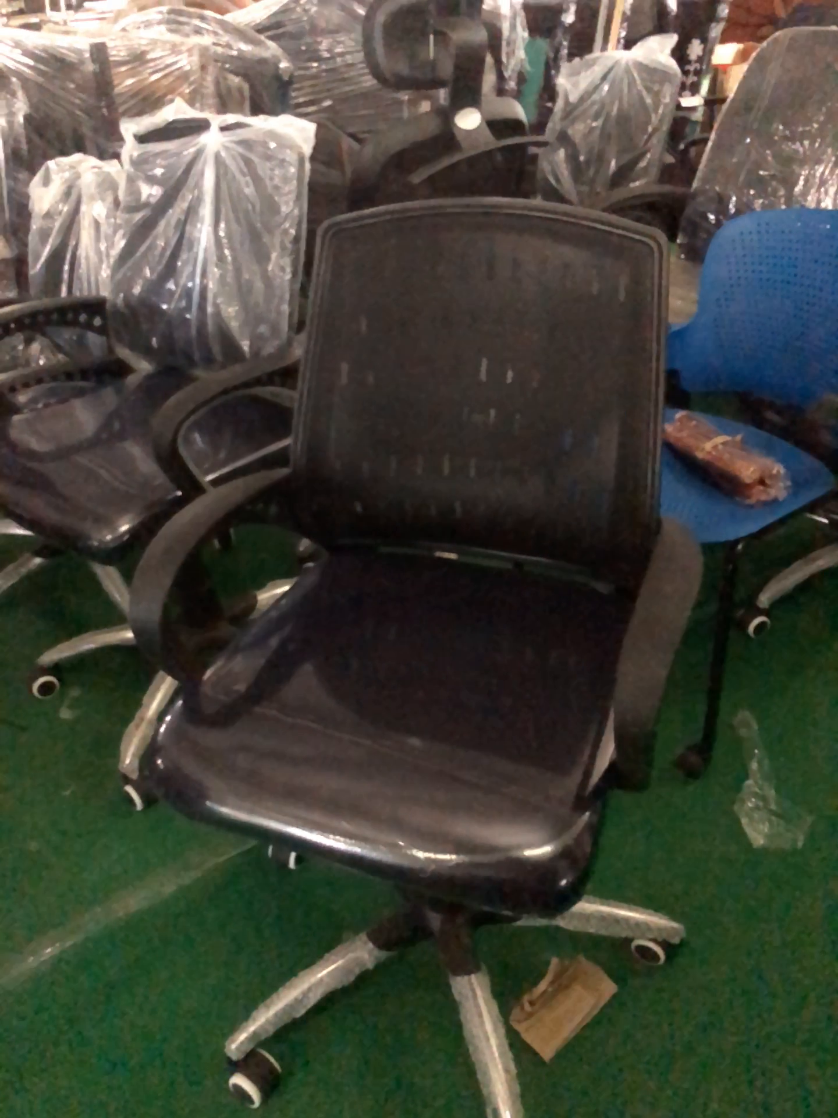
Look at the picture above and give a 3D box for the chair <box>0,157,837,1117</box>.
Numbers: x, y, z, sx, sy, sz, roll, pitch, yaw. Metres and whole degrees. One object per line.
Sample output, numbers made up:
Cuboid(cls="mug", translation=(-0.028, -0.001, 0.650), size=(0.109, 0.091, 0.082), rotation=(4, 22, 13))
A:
Cuboid(cls="chair", translation=(0.079, 0.124, 1.159), size=(0.730, 0.995, 0.875), rotation=(9, 35, 18))
